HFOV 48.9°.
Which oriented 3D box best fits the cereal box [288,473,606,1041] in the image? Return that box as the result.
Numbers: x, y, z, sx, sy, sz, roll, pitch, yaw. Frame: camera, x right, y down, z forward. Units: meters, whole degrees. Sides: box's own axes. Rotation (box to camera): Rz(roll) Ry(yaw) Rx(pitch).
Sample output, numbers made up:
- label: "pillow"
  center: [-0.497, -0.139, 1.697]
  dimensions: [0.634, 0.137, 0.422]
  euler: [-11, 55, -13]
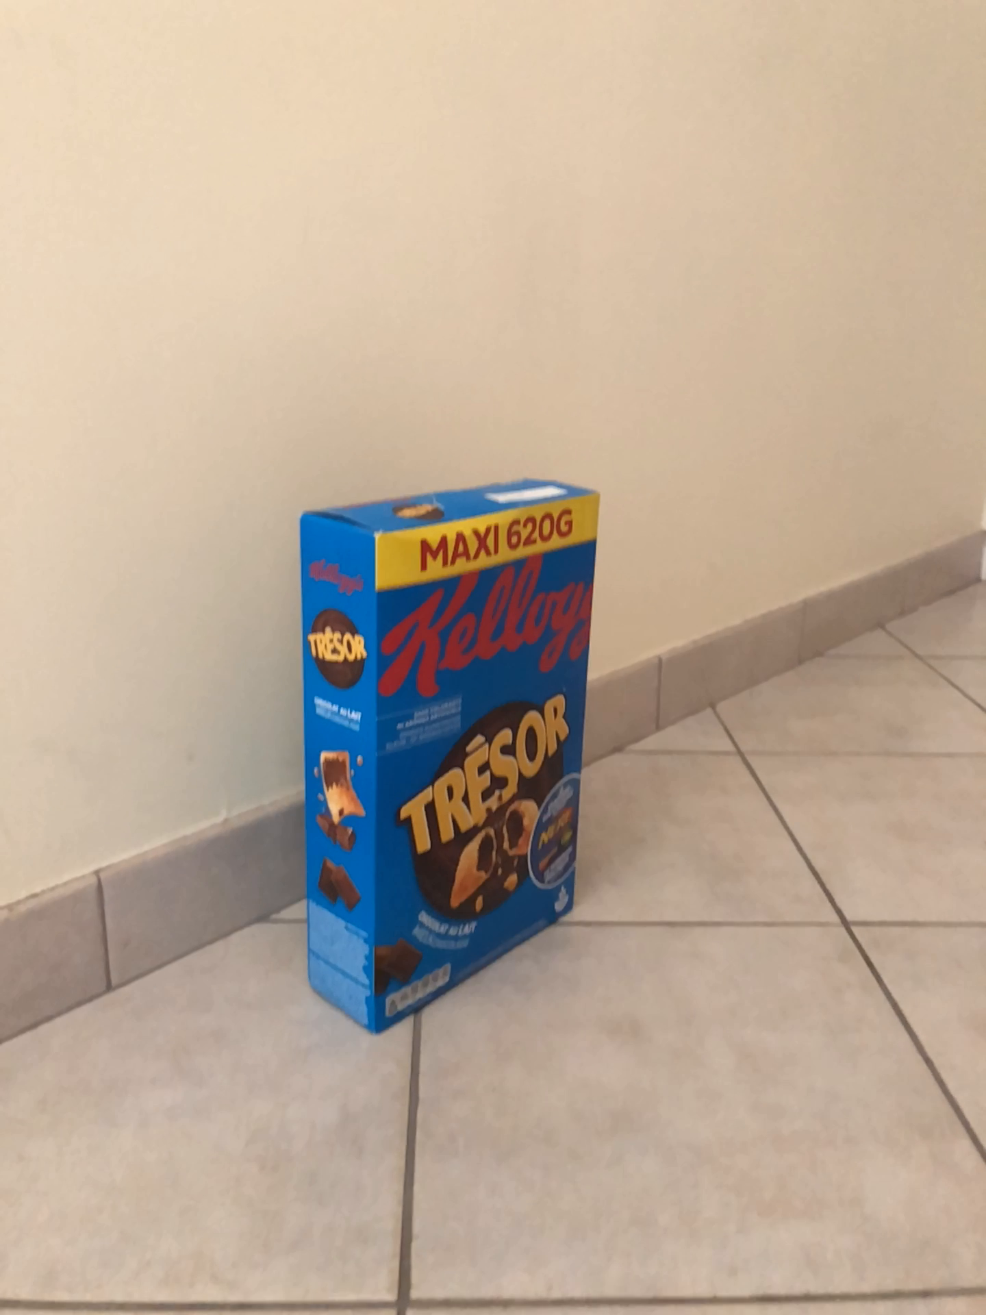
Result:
- label: "cereal box"
  center: [-0.025, 0.050, 0.669]
  dimensions: [0.070, 0.299, 0.191]
  euler: [17, 24, 38]
